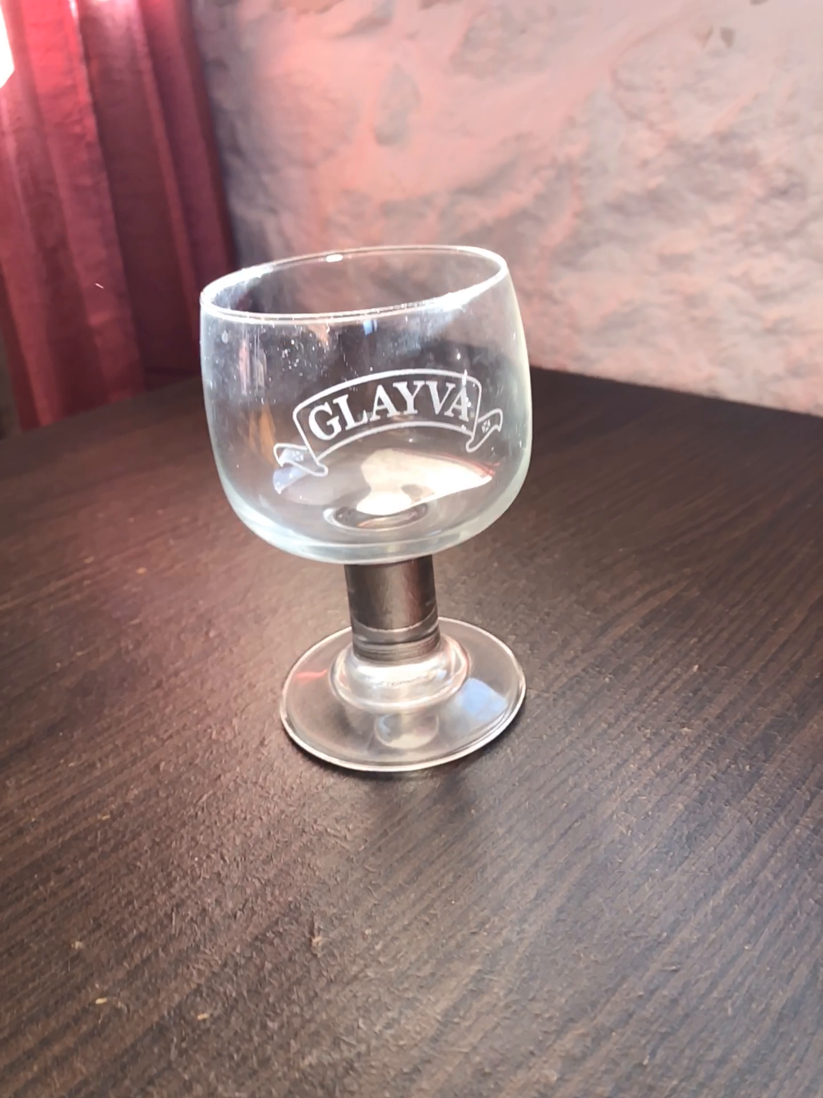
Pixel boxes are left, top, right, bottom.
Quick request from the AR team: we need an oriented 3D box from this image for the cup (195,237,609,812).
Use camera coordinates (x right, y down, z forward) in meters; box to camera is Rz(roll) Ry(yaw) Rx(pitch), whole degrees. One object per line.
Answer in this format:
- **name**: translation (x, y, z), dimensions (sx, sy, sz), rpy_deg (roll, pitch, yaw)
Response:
- **cup**: translation (-0.005, -0.013, 0.228), dimensions (0.077, 0.107, 0.086), rpy_deg (-9, 26, -9)
